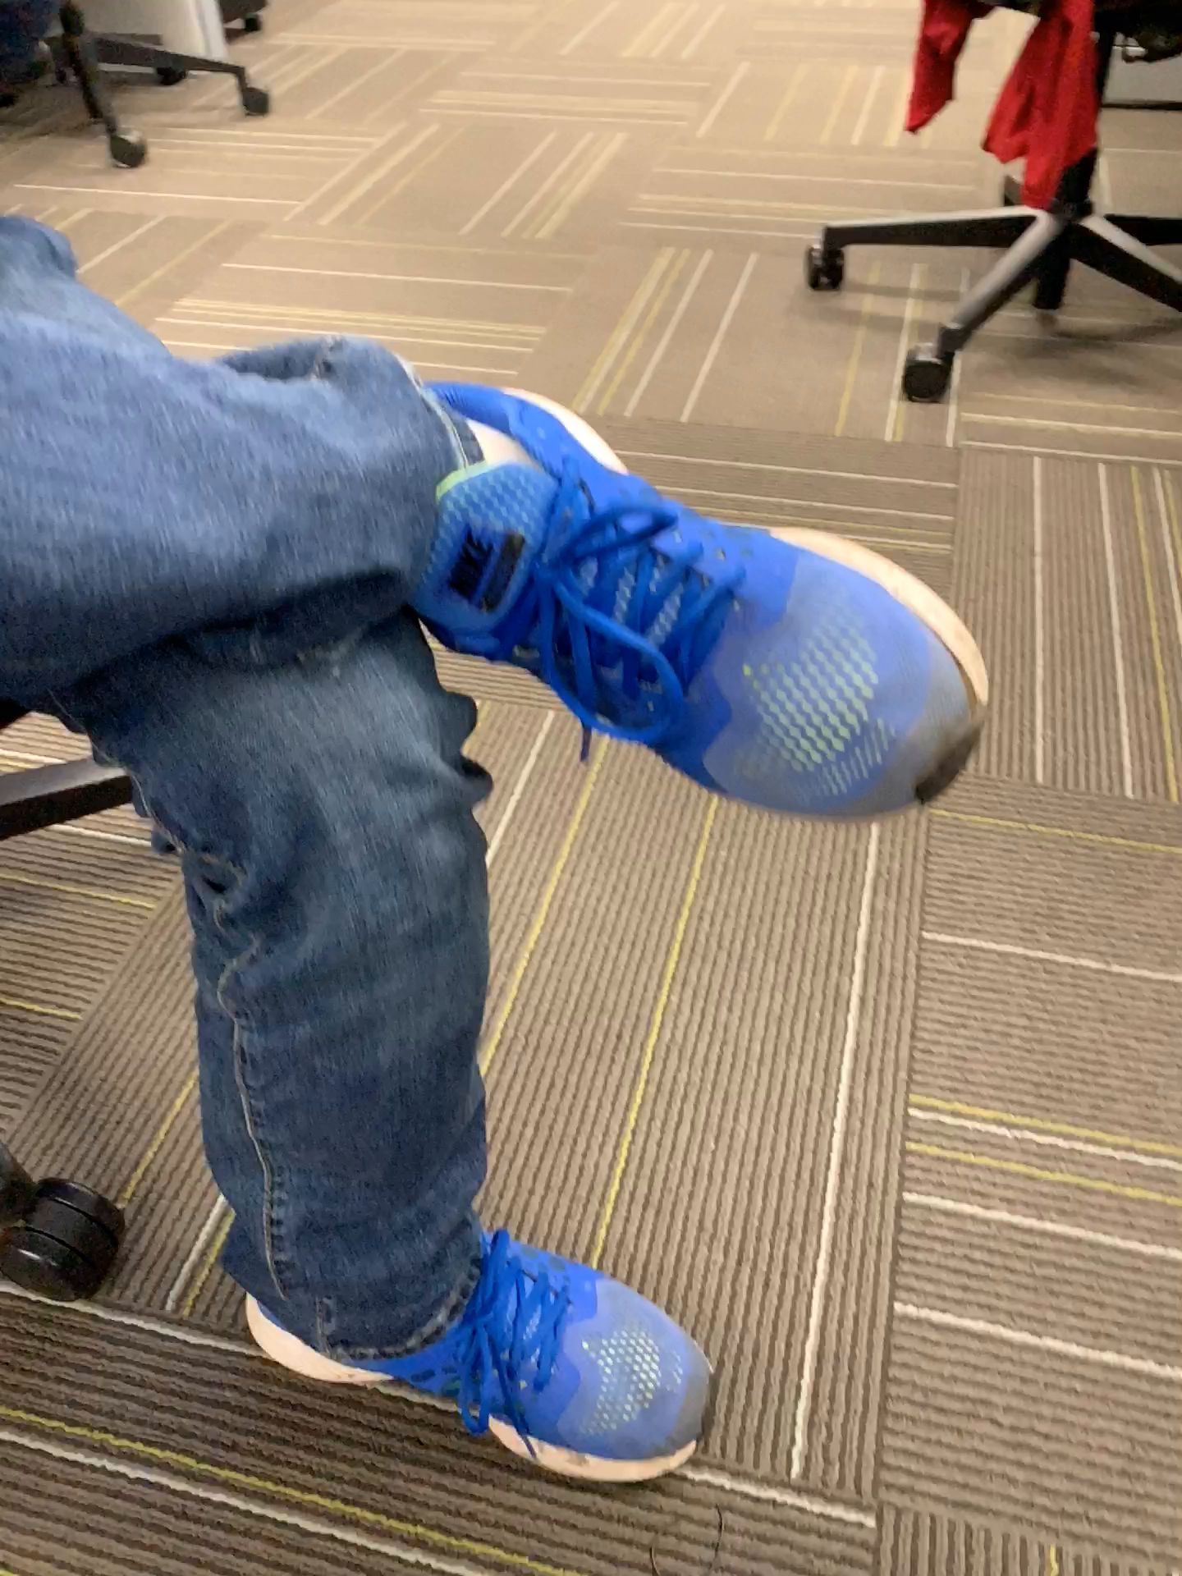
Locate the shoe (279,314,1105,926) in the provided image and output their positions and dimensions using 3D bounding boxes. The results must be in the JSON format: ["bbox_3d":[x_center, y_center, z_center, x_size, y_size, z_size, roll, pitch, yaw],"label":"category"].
[{"bbox_3d":[0.020,-0.078,0.452,0.276,0.117,0.103,29,26,30],"label":"shoe"}]

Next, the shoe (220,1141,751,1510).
[{"bbox_3d":[-0.059,0.311,0.716,0.284,0.086,0.101,11,44,14],"label":"shoe"}]
